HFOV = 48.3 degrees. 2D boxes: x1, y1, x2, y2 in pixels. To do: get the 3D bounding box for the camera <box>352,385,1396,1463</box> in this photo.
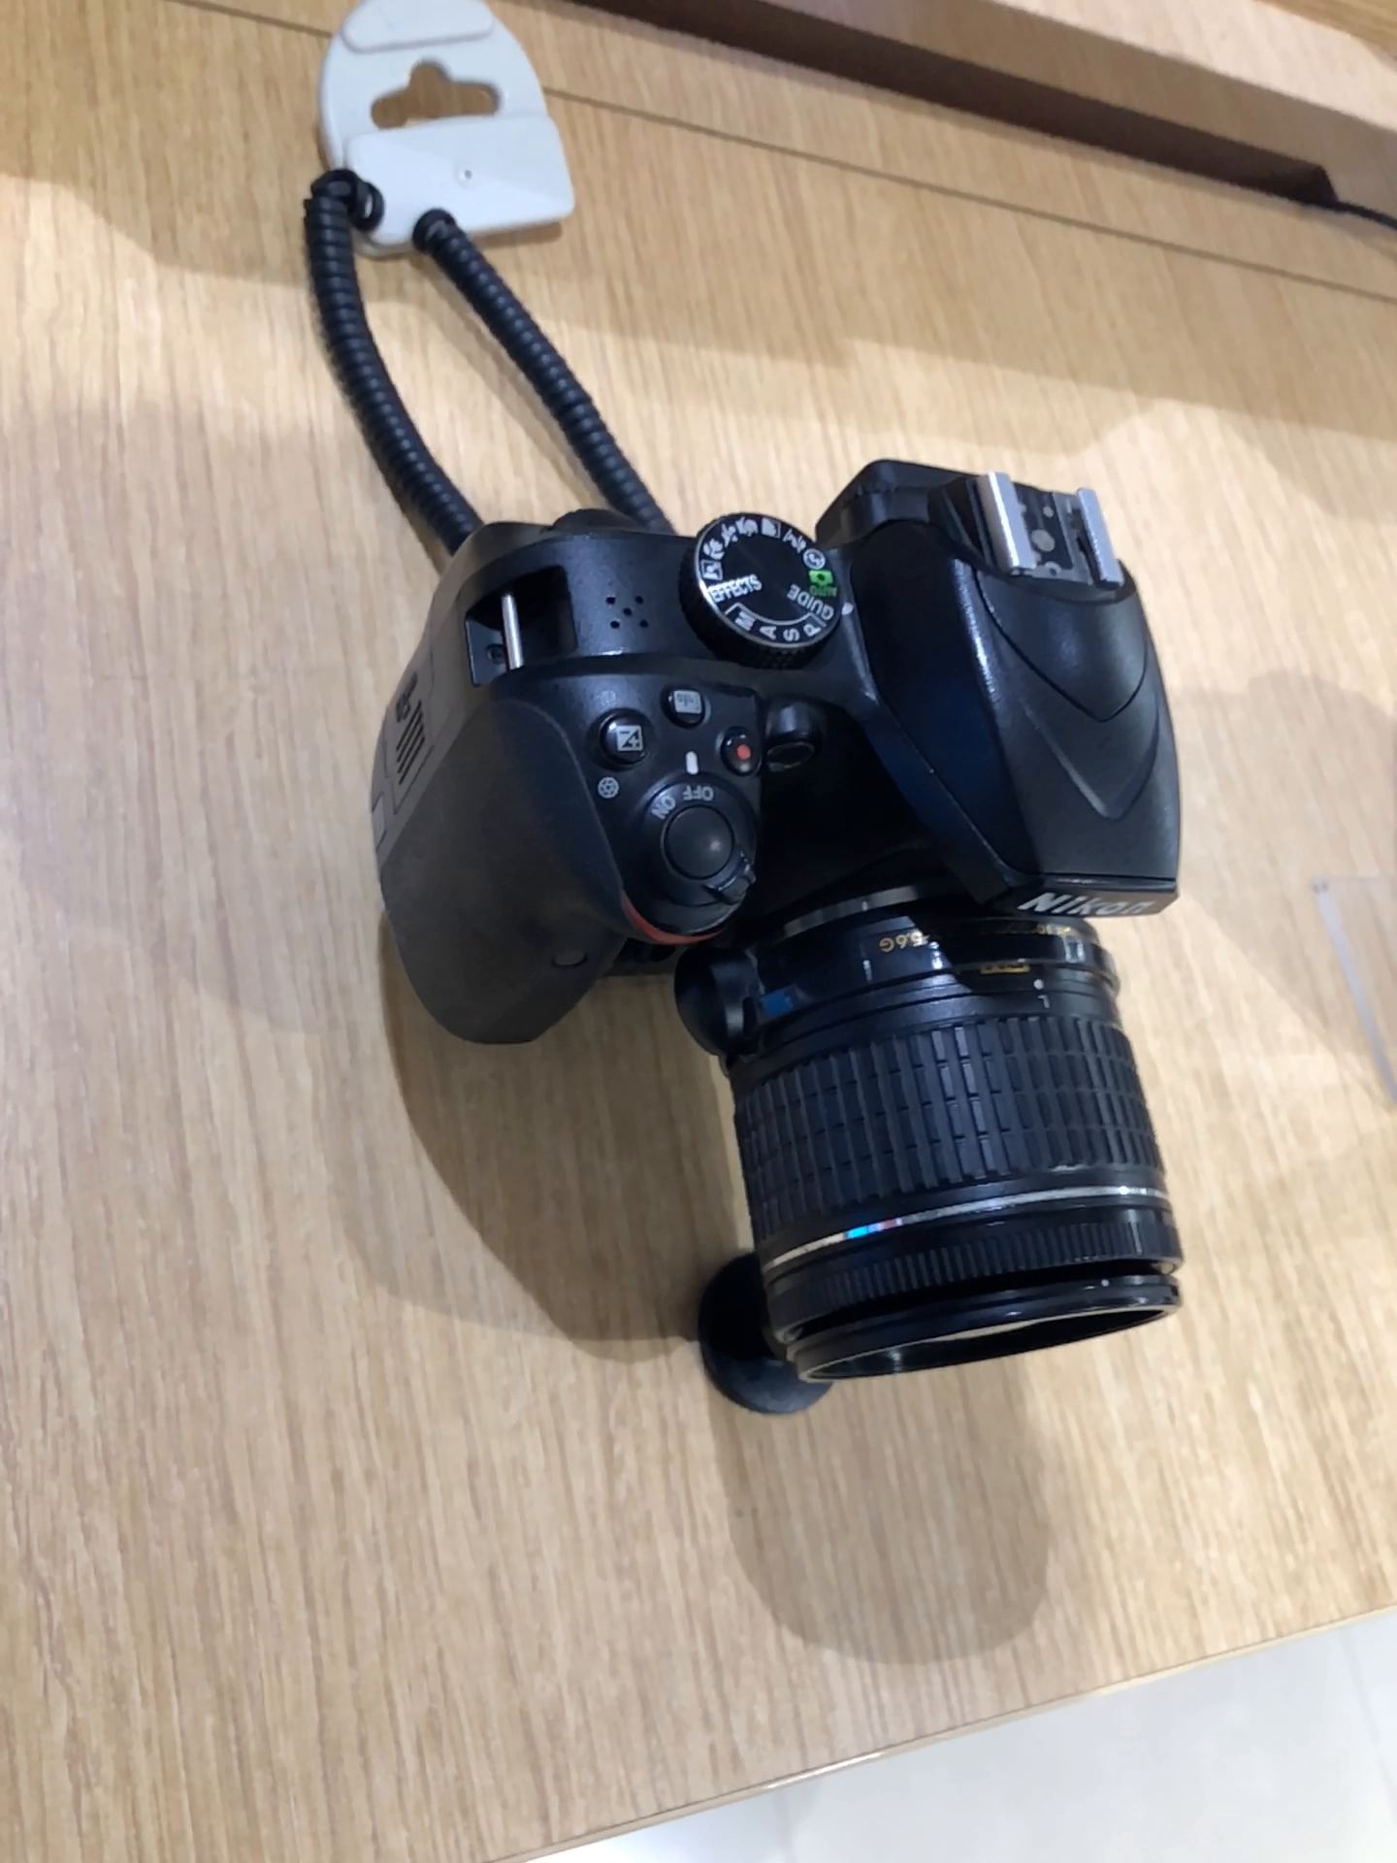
[{"bbox_3d":[0.029,0.004,0.237,0.133,0.084,0.120,0,67,-27],"label":"camera"}]
